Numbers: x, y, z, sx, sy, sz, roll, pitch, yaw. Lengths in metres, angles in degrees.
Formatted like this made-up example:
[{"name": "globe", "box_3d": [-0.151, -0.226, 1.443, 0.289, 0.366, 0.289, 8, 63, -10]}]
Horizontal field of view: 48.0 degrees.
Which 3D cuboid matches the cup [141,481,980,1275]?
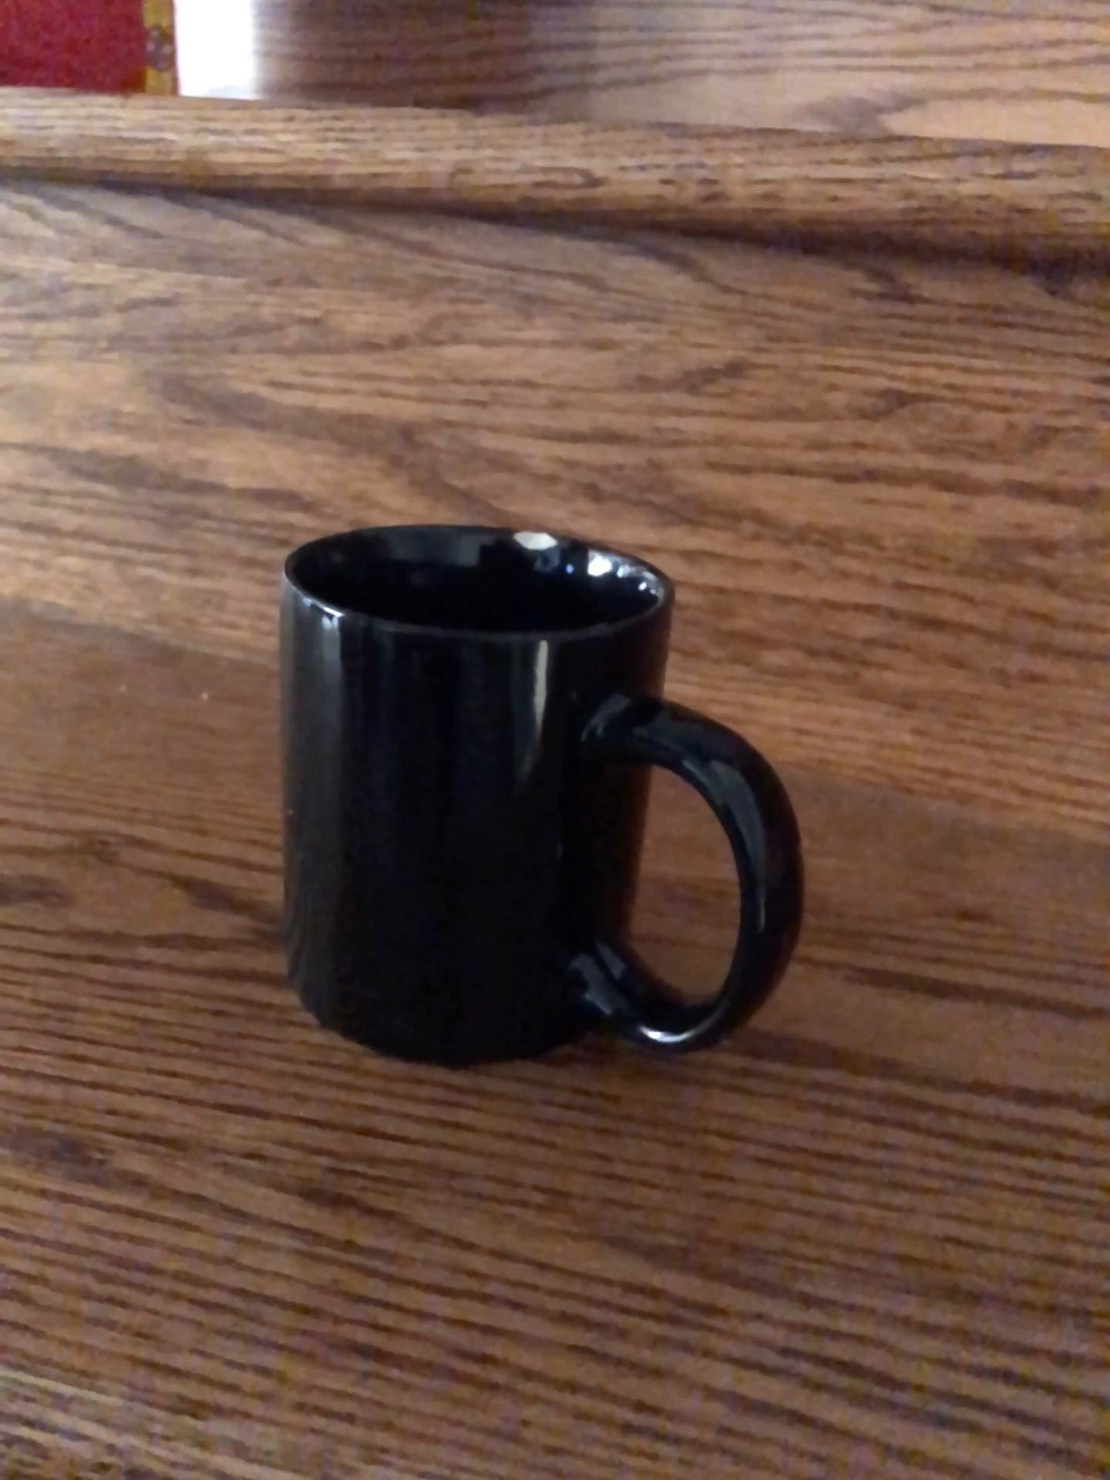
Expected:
[{"name": "cup", "box_3d": [-0.003, 0.013, 0.261, 0.136, 0.095, 0.092, 22, 30, 33]}]
